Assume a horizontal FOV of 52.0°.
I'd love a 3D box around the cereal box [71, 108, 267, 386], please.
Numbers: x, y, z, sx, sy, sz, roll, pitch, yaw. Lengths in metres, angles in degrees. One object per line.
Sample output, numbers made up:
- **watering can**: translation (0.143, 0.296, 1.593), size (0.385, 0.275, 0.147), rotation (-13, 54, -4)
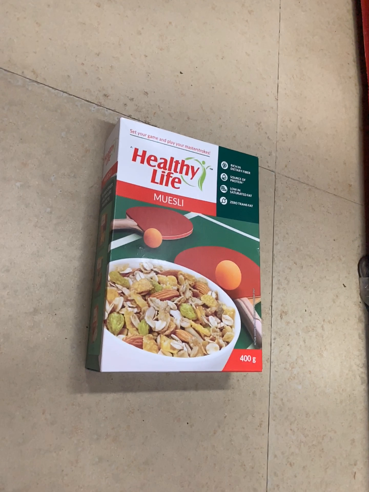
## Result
- **cereal box**: translation (-0.009, 0.011, 0.374), size (0.160, 0.080, 0.230), rotation (10, 74, -27)
